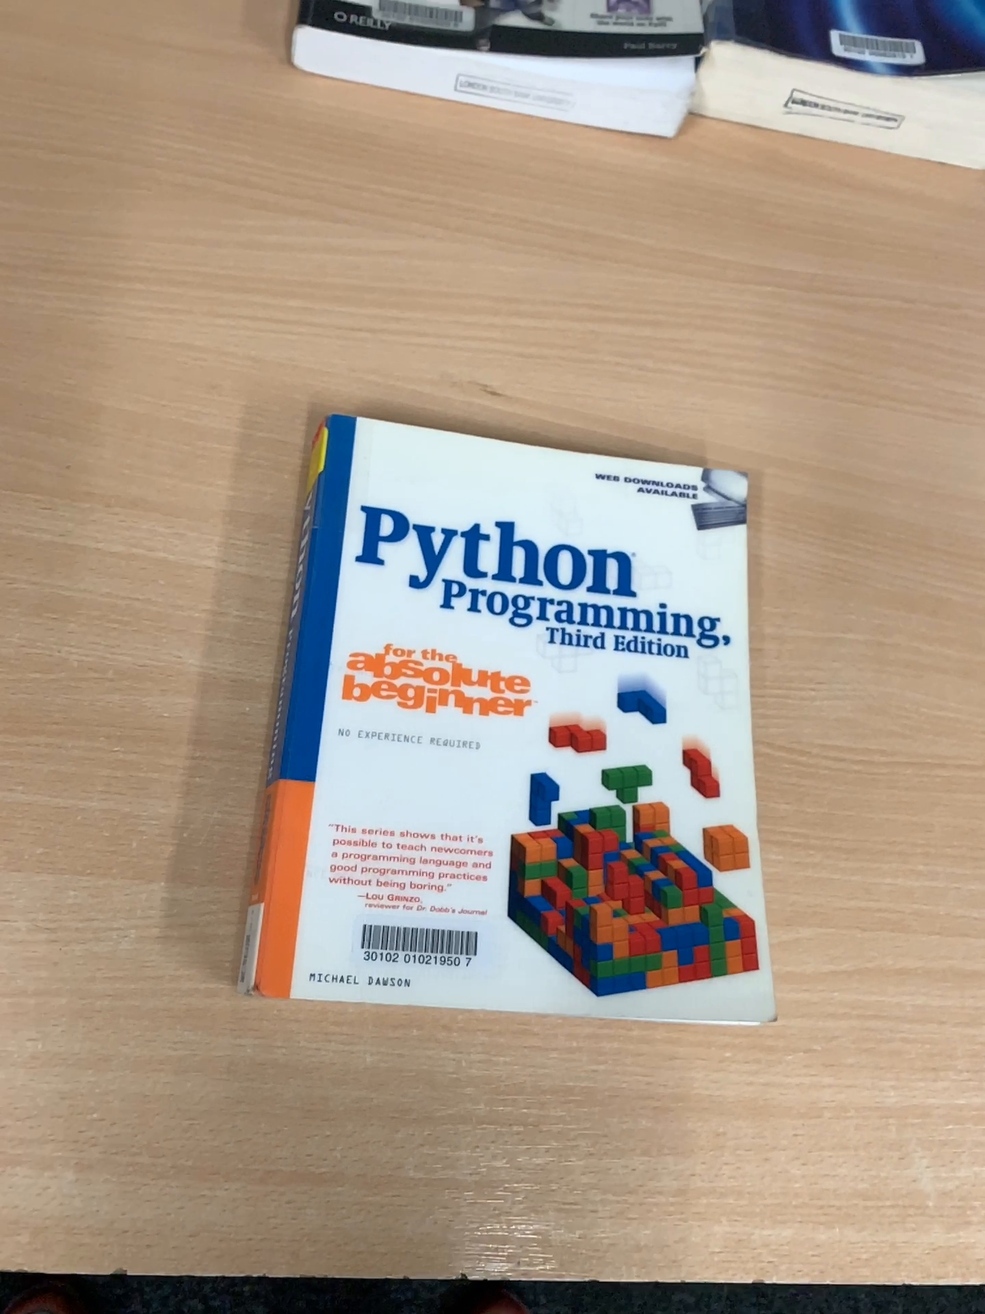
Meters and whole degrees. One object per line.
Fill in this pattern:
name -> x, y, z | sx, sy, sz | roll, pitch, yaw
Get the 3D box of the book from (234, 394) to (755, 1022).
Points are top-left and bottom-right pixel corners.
book -> 0.007, 0.018, 0.388 | 0.174, 0.039, 0.219 | 7, 71, -8
